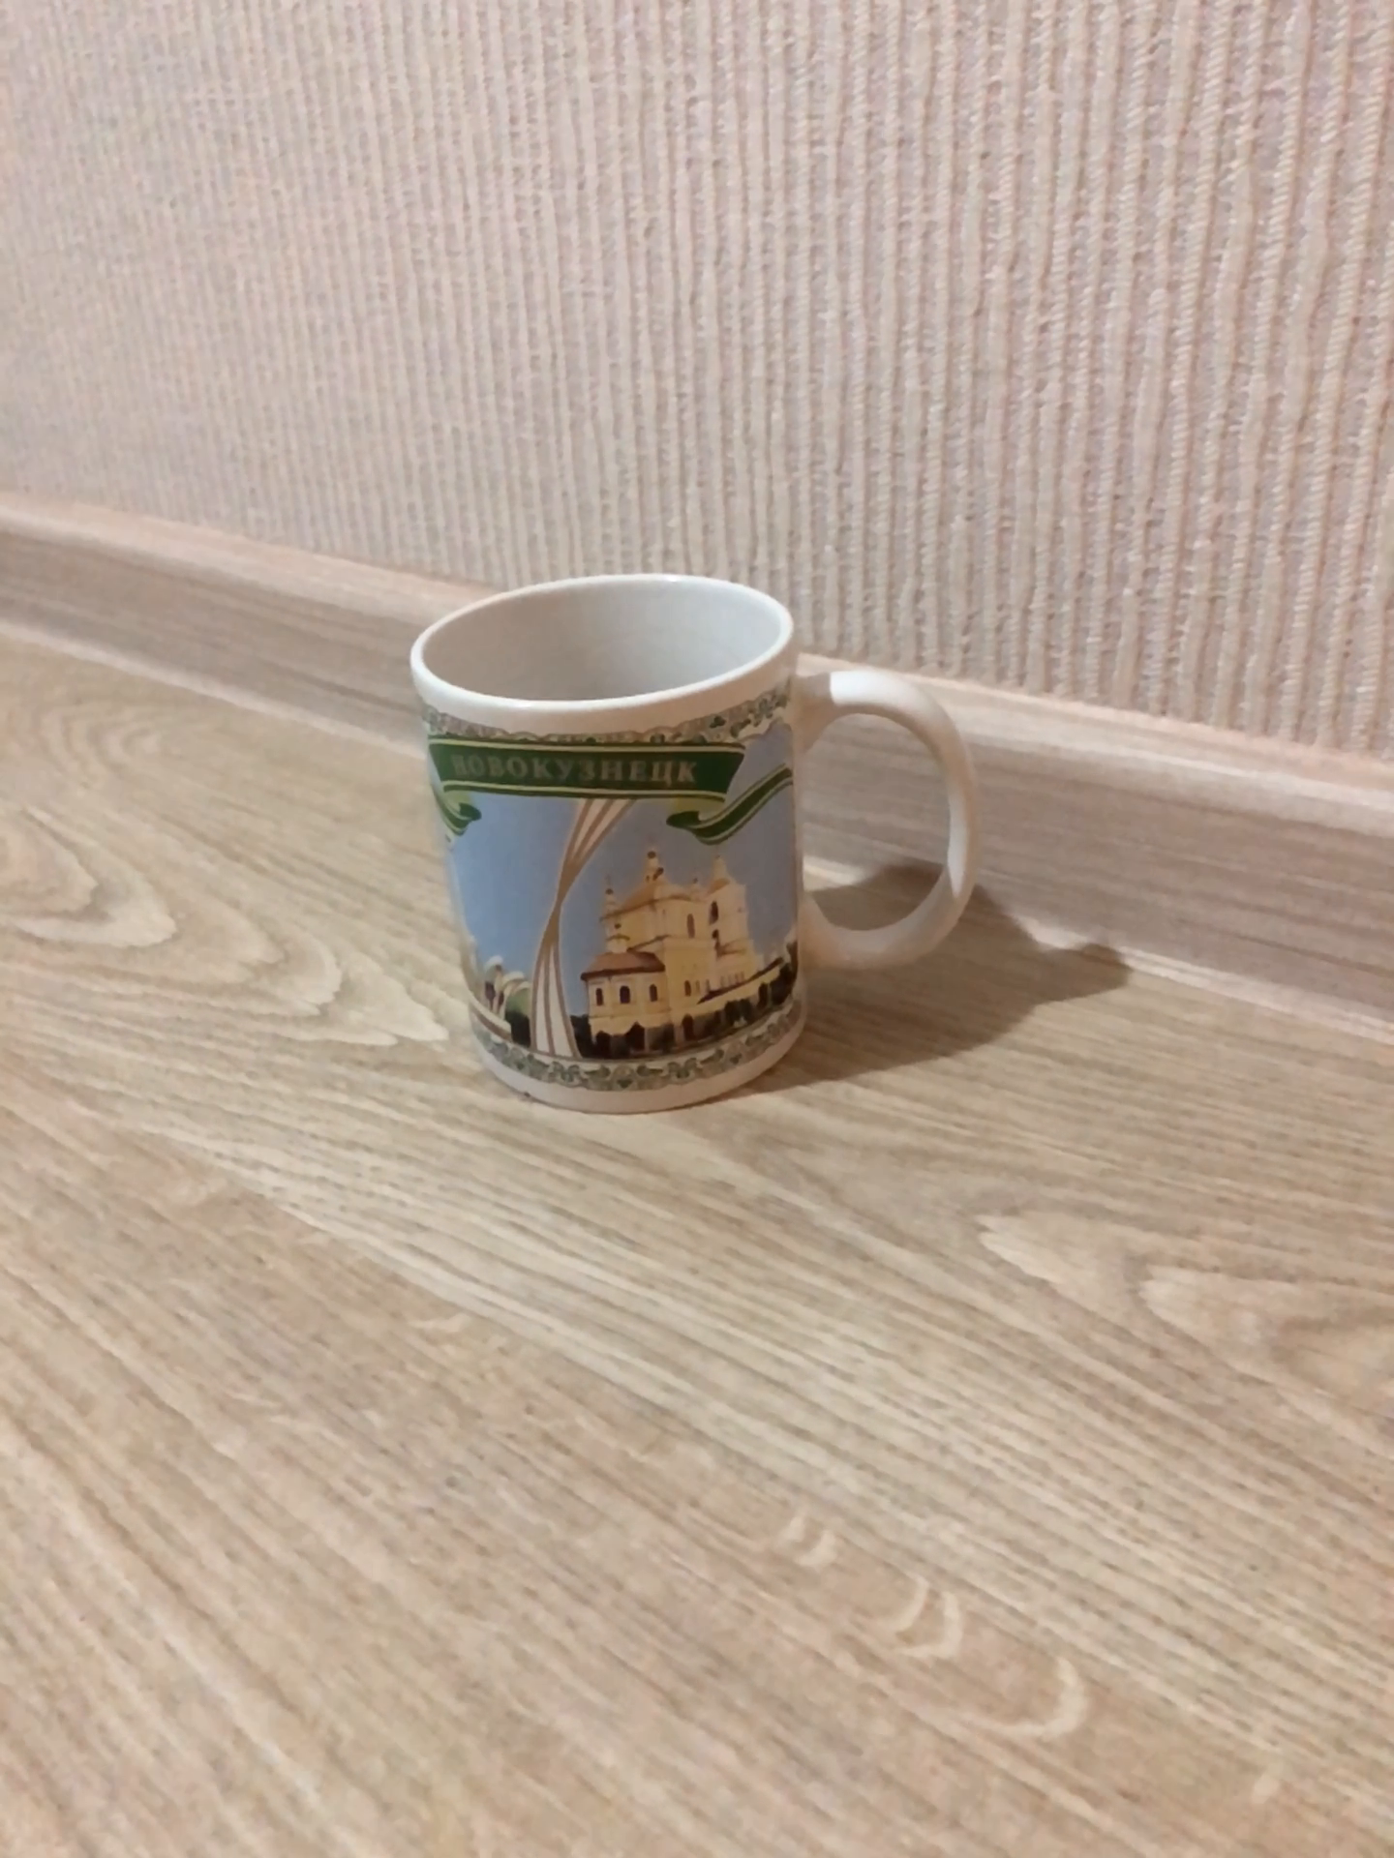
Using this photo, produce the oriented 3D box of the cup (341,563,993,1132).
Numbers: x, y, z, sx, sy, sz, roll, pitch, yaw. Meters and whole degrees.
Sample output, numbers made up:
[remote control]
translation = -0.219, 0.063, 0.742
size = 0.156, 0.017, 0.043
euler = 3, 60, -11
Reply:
[cup]
translation = 0.001, -0.021, 0.340
size = 0.121, 0.096, 0.082
euler = 1, 29, 8
